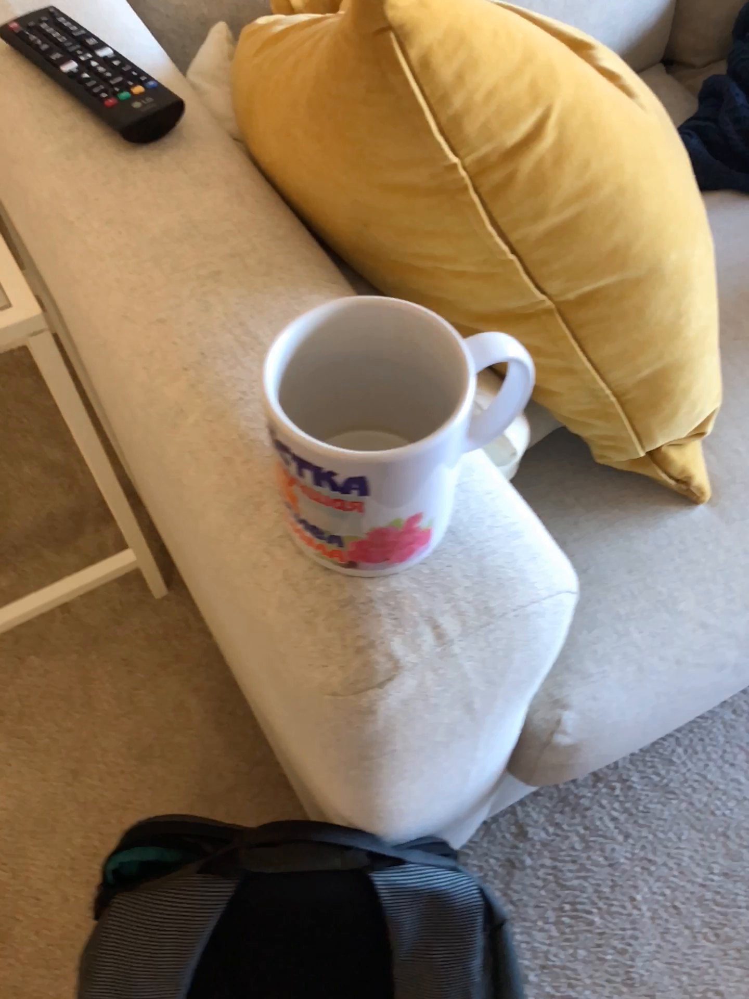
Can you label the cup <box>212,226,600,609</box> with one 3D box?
[{"bbox_3d":[0.010,-0.033,0.349,0.120,0.100,0.080,-22,60,-14],"label":"cup"}]
